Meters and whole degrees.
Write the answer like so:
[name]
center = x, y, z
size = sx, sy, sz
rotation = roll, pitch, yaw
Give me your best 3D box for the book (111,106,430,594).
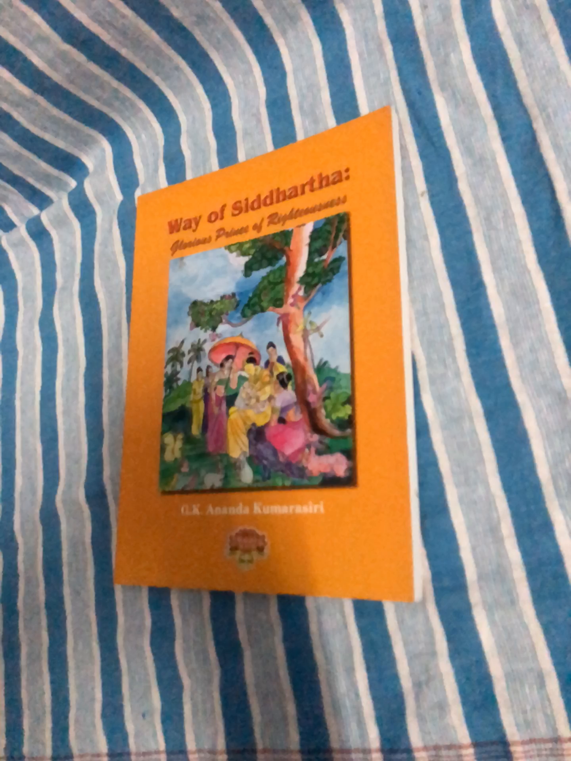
[book]
center = -0.018, -0.013, 0.326
size = 0.170, 0.010, 0.230
rotation = -8, 75, 27
